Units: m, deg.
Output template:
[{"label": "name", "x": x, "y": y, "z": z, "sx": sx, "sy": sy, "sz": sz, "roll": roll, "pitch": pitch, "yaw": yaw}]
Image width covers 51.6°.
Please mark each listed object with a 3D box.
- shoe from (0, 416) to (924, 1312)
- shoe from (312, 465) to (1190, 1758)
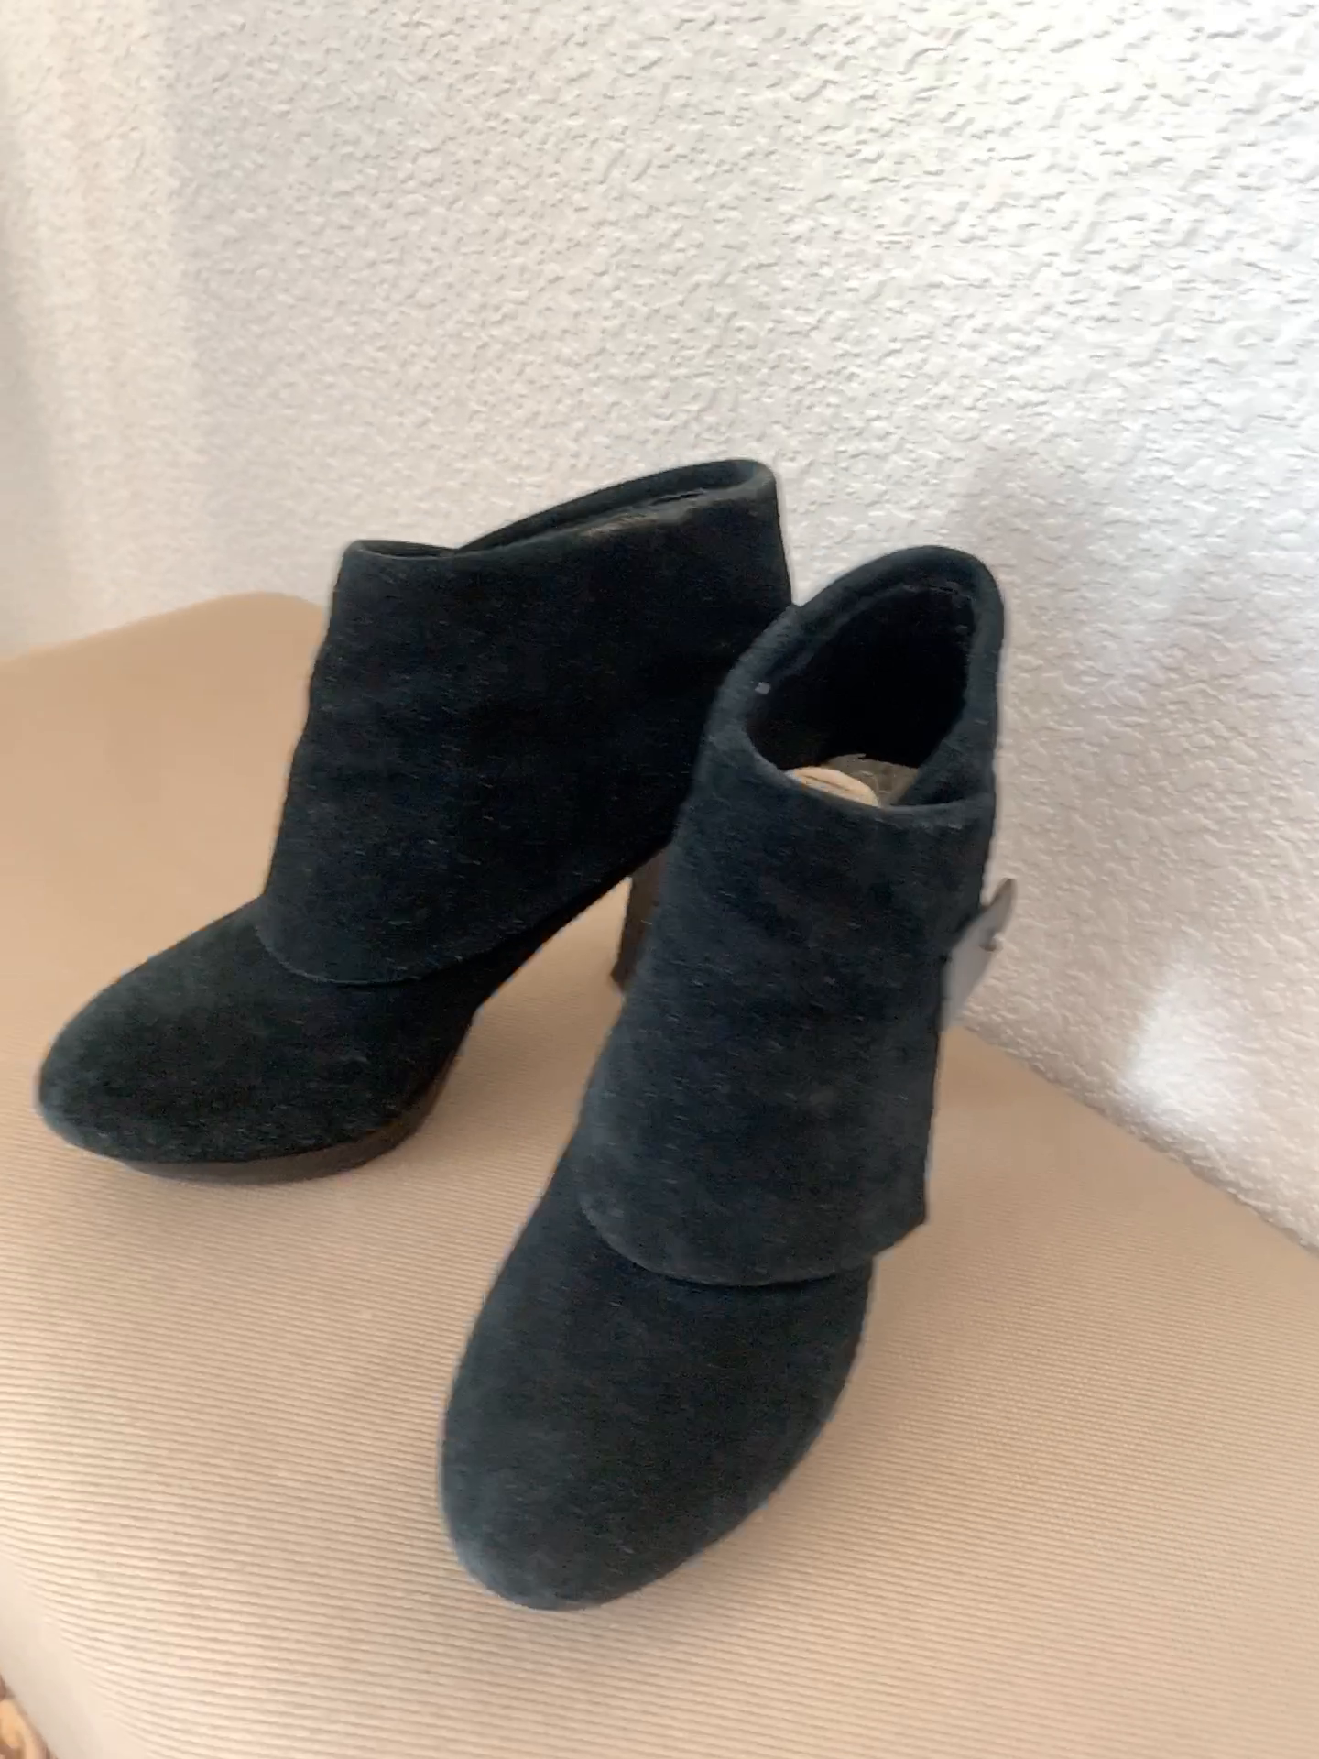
[{"label": "shoe", "x": -0.061, "y": -0.012, "z": 0.358, "sx": 0.218, "sy": 0.166, "sz": 0.090, "roll": -16, "pitch": 45, "yaw": -26}, {"label": "shoe", "x": 0.030, "y": 0.034, "z": 0.306, "sx": 0.090, "sy": 0.166, "sz": 0.218, "roll": 20, "pitch": 42, "yaw": 15}]
